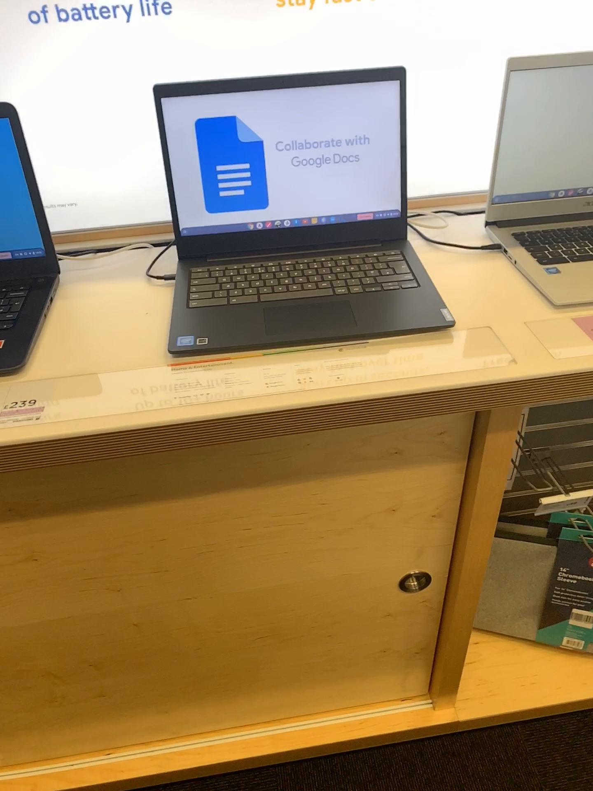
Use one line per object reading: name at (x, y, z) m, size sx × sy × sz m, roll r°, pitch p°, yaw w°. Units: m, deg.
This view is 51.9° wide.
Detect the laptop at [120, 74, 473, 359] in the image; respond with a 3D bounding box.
laptop at (-0.008, -0.222, 0.712) m, size 0.315 × 0.201 × 0.283 m, roll -6°, pitch 39°, yaw -3°
